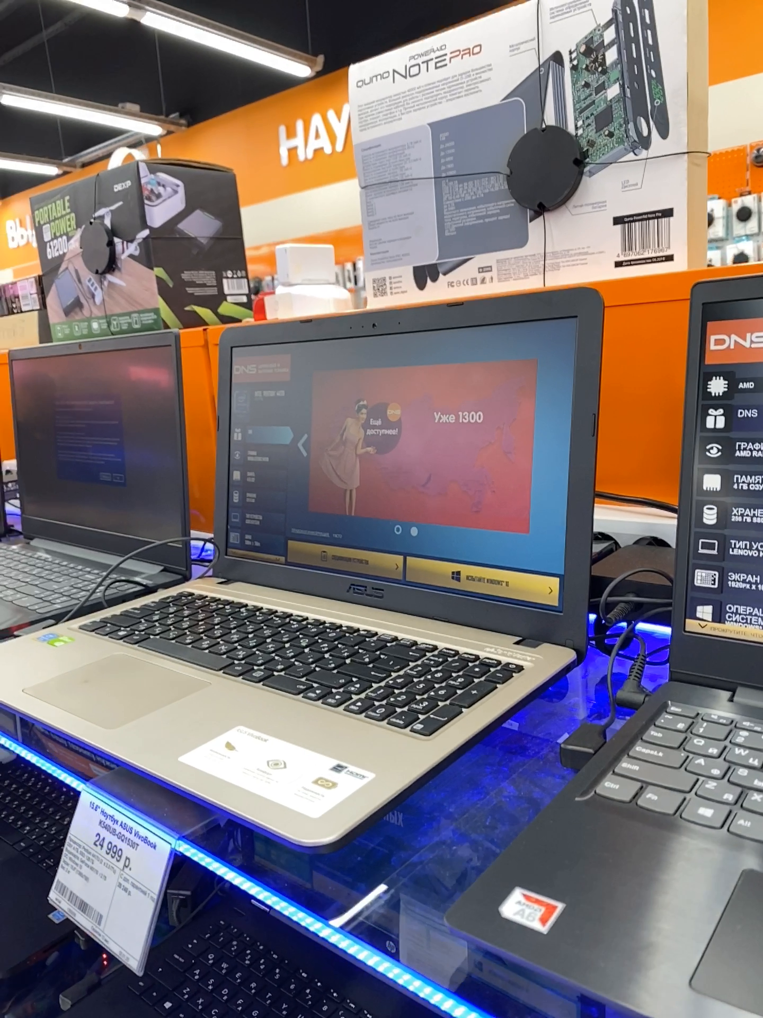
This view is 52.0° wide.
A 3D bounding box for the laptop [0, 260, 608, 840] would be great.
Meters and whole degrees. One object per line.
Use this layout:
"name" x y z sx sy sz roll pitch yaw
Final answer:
"laptop" -0.086 -0.015 0.534 0.377 0.231 0.293 5 13 39
